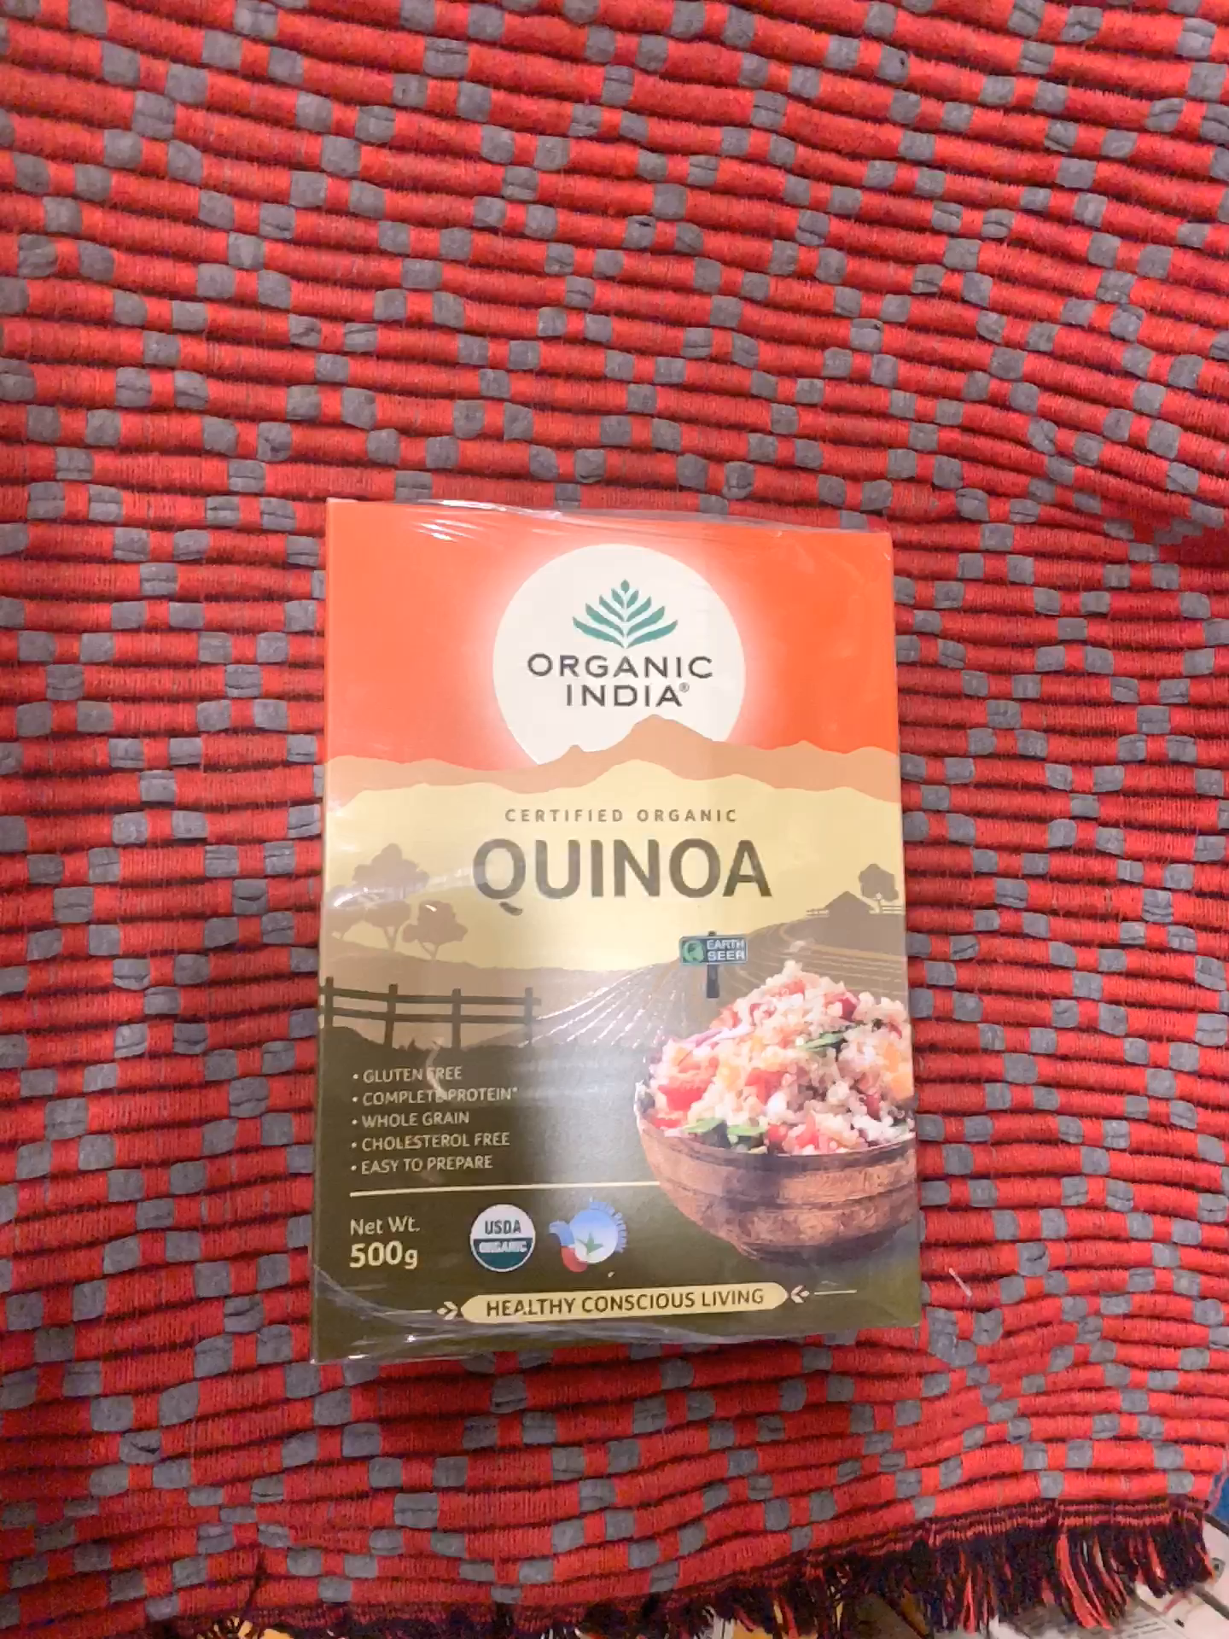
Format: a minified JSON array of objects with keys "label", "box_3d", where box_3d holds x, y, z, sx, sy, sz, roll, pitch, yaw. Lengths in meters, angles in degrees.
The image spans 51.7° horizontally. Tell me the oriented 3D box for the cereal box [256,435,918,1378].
[{"label":"cereal box","box_3d":[-0.009,0.018,0.289,0.130,0.070,0.180,1,84,-11]}]
